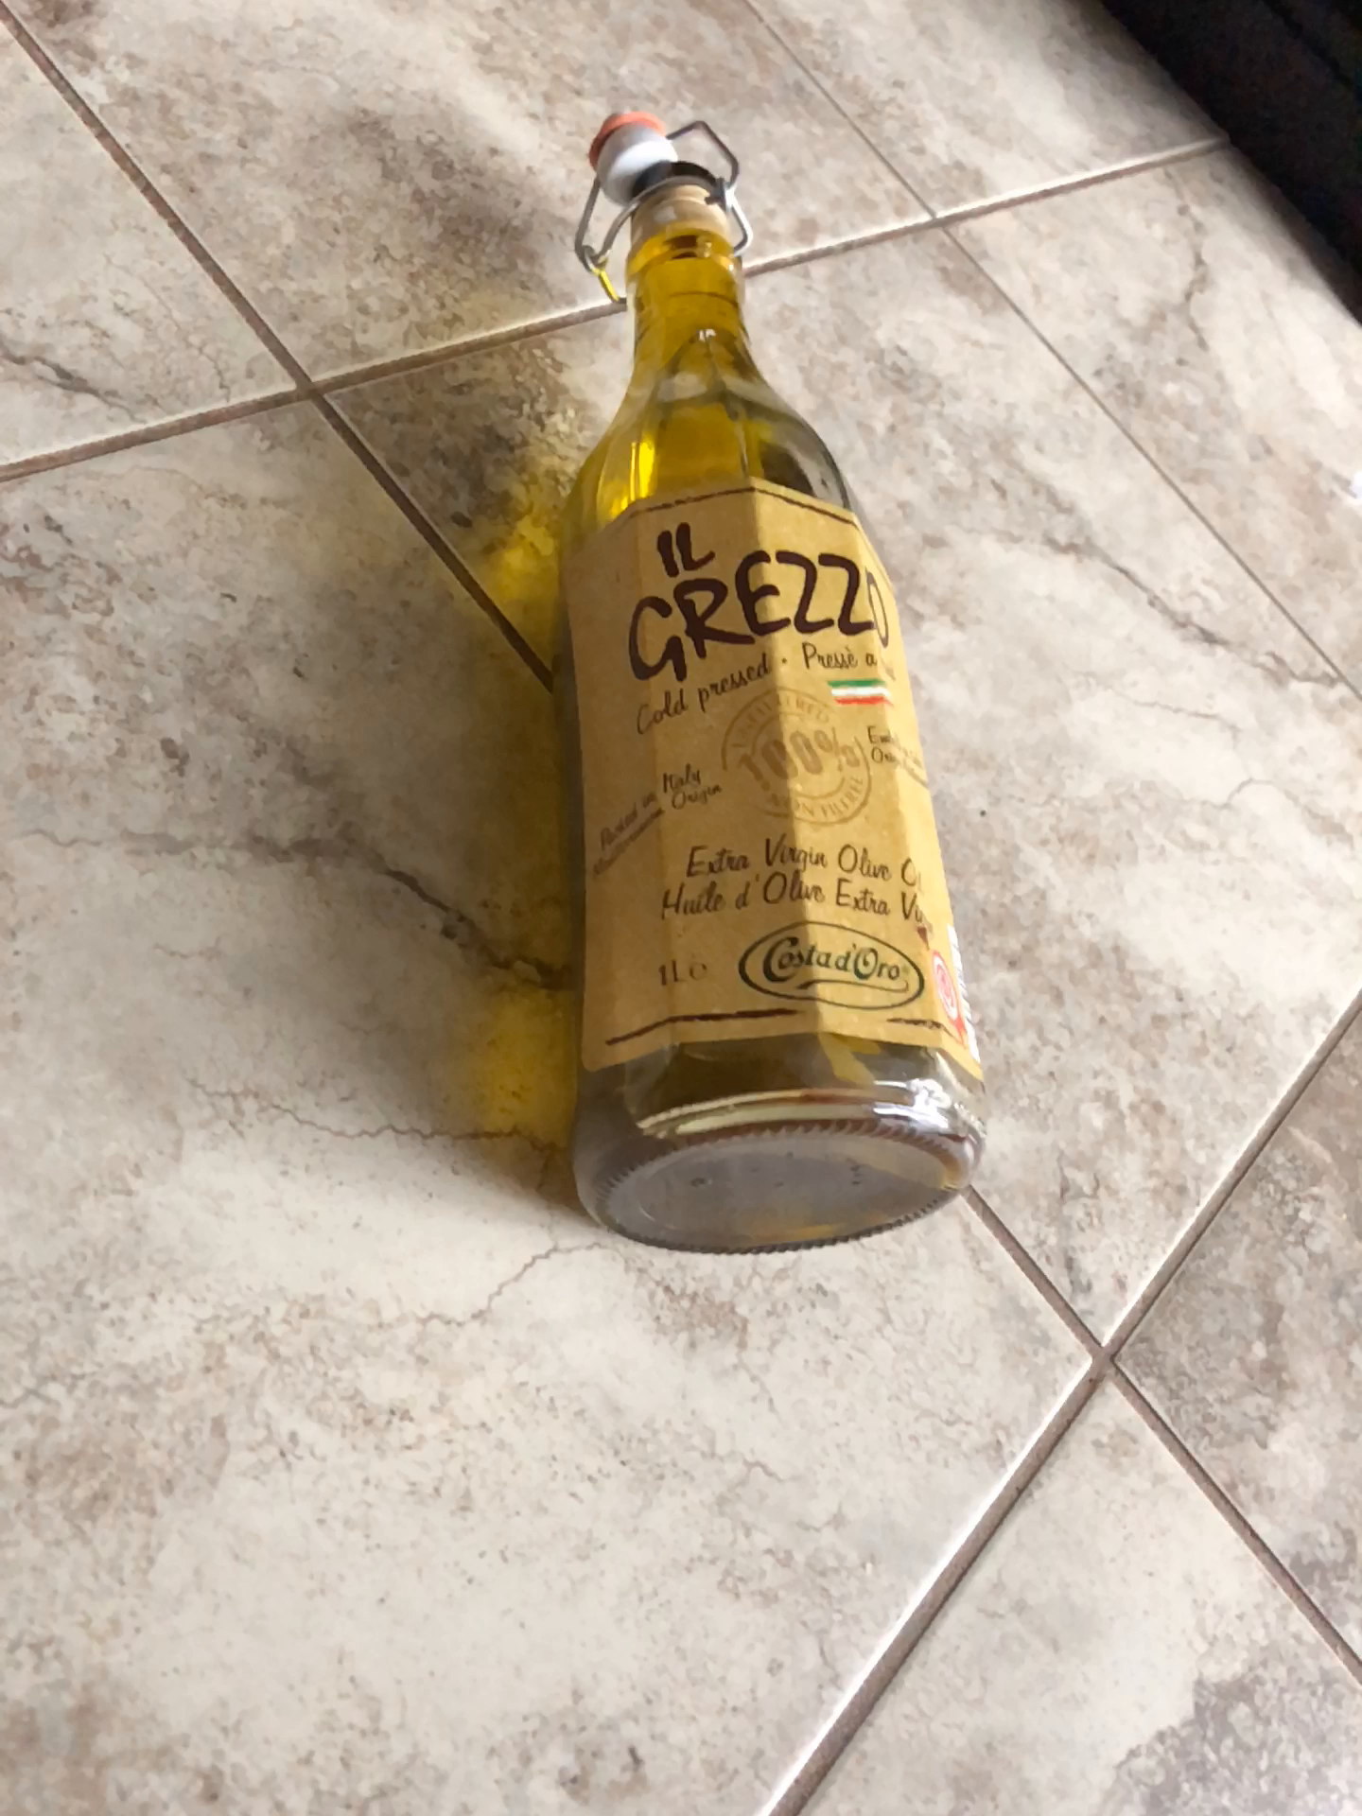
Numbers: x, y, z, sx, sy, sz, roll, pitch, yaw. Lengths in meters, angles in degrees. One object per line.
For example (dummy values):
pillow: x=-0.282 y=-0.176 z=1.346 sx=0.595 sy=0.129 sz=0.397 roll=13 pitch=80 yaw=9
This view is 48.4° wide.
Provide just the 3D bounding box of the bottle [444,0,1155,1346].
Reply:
bottle: x=0.017 y=-0.087 z=0.371 sx=0.090 sy=0.100 sz=0.350 roll=16 pitch=54 yaw=-23
